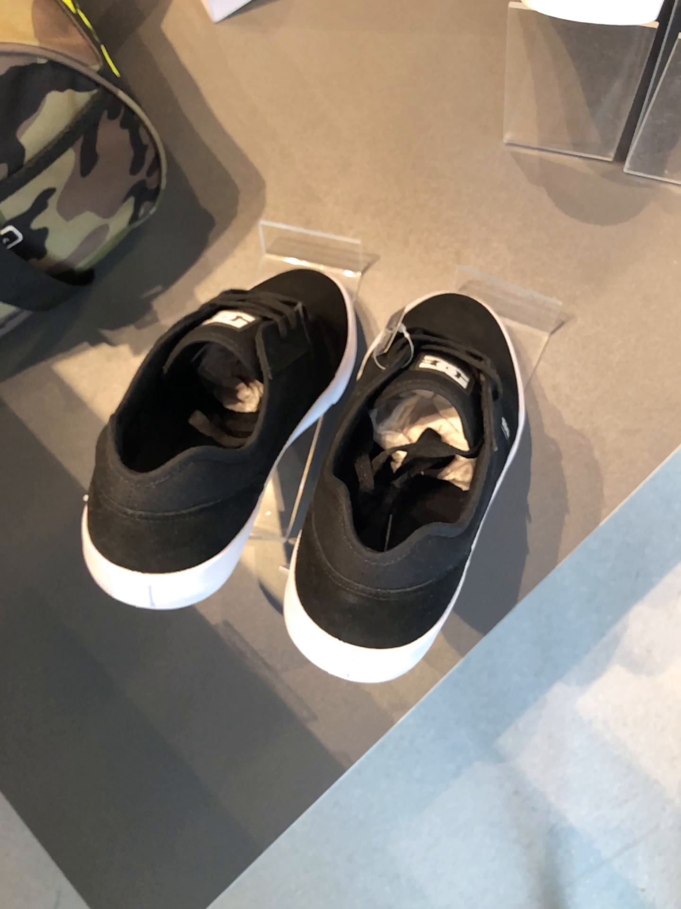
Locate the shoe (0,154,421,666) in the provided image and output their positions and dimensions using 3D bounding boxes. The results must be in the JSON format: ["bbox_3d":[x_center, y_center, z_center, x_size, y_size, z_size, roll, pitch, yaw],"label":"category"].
[{"bbox_3d":[-0.047,-0.036,0.380,0.106,0.107,0.229,17,49,7],"label":"shoe"}]

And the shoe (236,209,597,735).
[{"bbox_3d":[0.045,-0.006,0.381,0.106,0.107,0.229,19,49,7],"label":"shoe"}]
